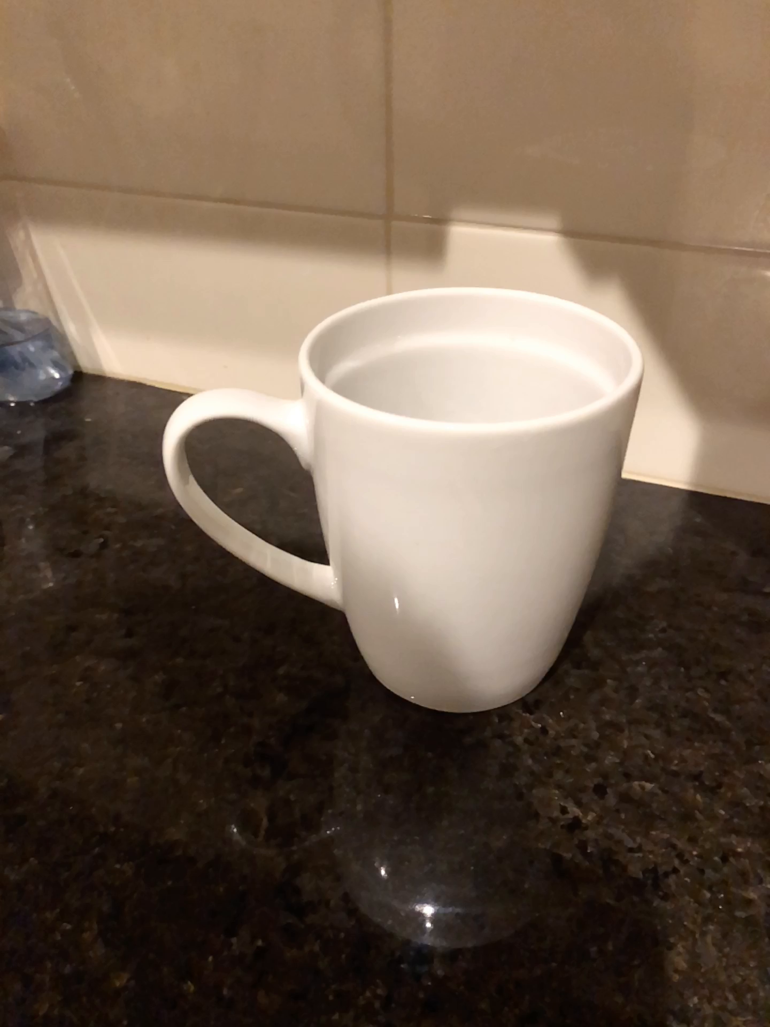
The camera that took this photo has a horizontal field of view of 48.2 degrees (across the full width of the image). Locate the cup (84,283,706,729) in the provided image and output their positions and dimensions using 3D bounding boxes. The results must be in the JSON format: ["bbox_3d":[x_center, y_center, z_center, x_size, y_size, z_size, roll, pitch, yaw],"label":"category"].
[{"bbox_3d":[0.003,-0.006,0.242,0.130,0.090,0.090,0,34,1],"label":"cup"}]
